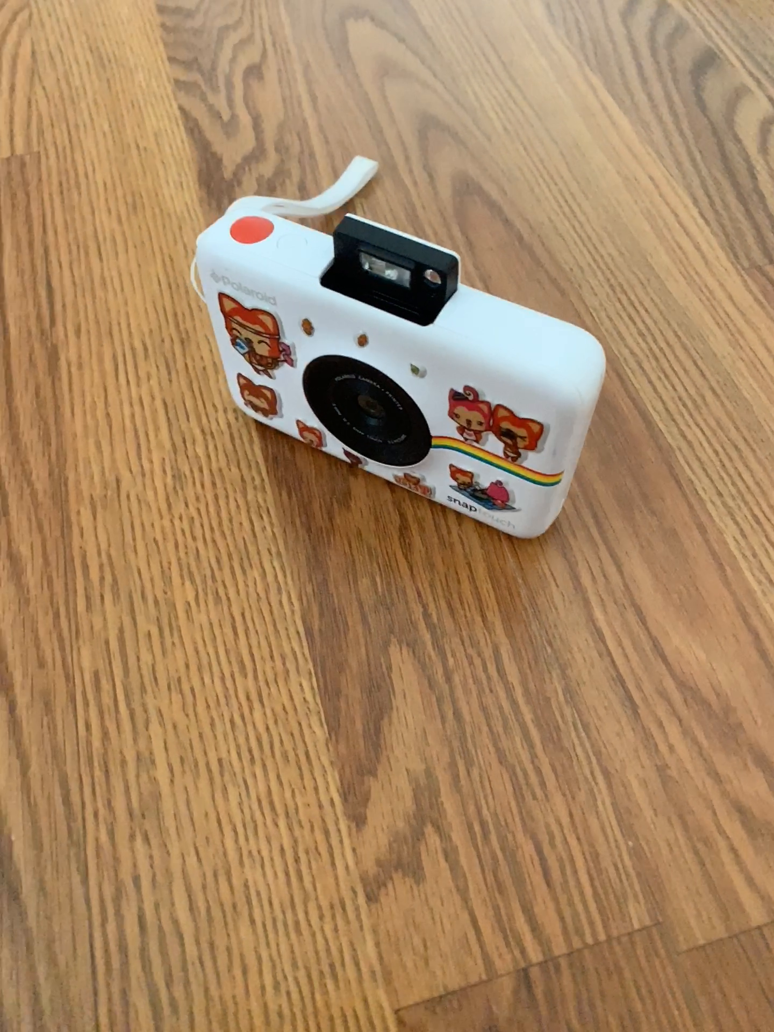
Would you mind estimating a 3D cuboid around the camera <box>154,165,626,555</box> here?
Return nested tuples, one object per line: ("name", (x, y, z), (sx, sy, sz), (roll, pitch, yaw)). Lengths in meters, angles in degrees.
("camera", (-0.002, -0.045, 0.241), (0.125, 0.081, 0.026), (25, 61, 17))
